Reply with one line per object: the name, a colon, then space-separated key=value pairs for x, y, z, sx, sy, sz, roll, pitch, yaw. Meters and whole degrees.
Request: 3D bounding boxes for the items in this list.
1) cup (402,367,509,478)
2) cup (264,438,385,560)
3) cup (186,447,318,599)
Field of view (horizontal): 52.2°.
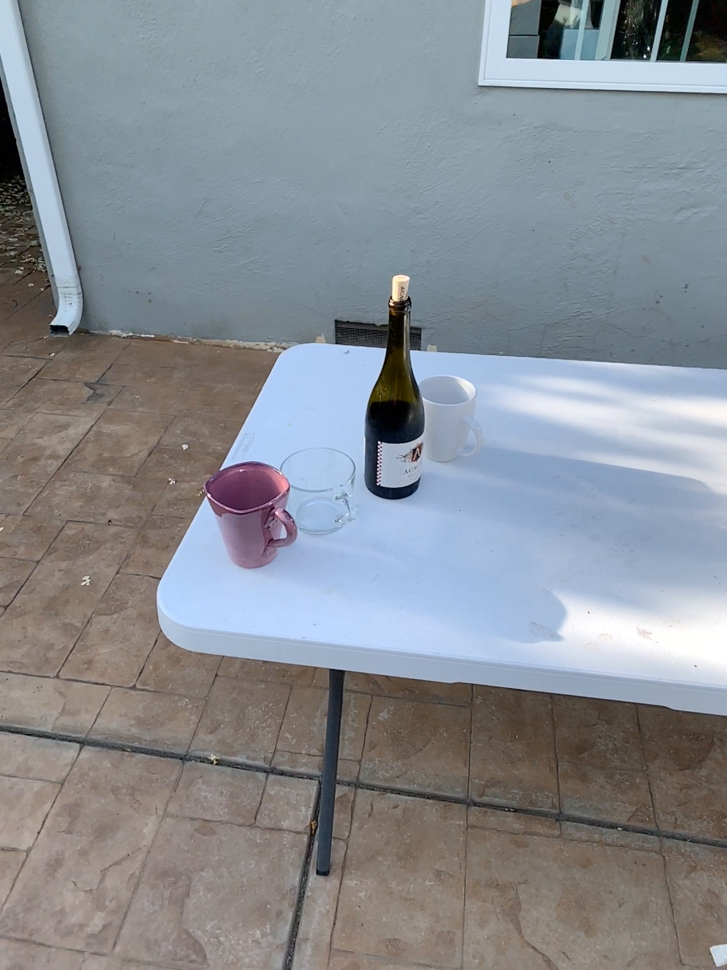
cup: x=0.132 y=-0.095 z=1.091 sx=0.090 sy=0.099 sz=0.121 roll=-25 pitch=43 yaw=-31
cup: x=-0.053 y=0.015 z=0.991 sx=0.100 sy=0.080 sz=0.131 roll=-25 pitch=43 yaw=-31
cup: x=-0.137 y=0.043 z=0.921 sx=0.100 sy=0.109 sz=0.131 roll=-25 pitch=43 yaw=-31
